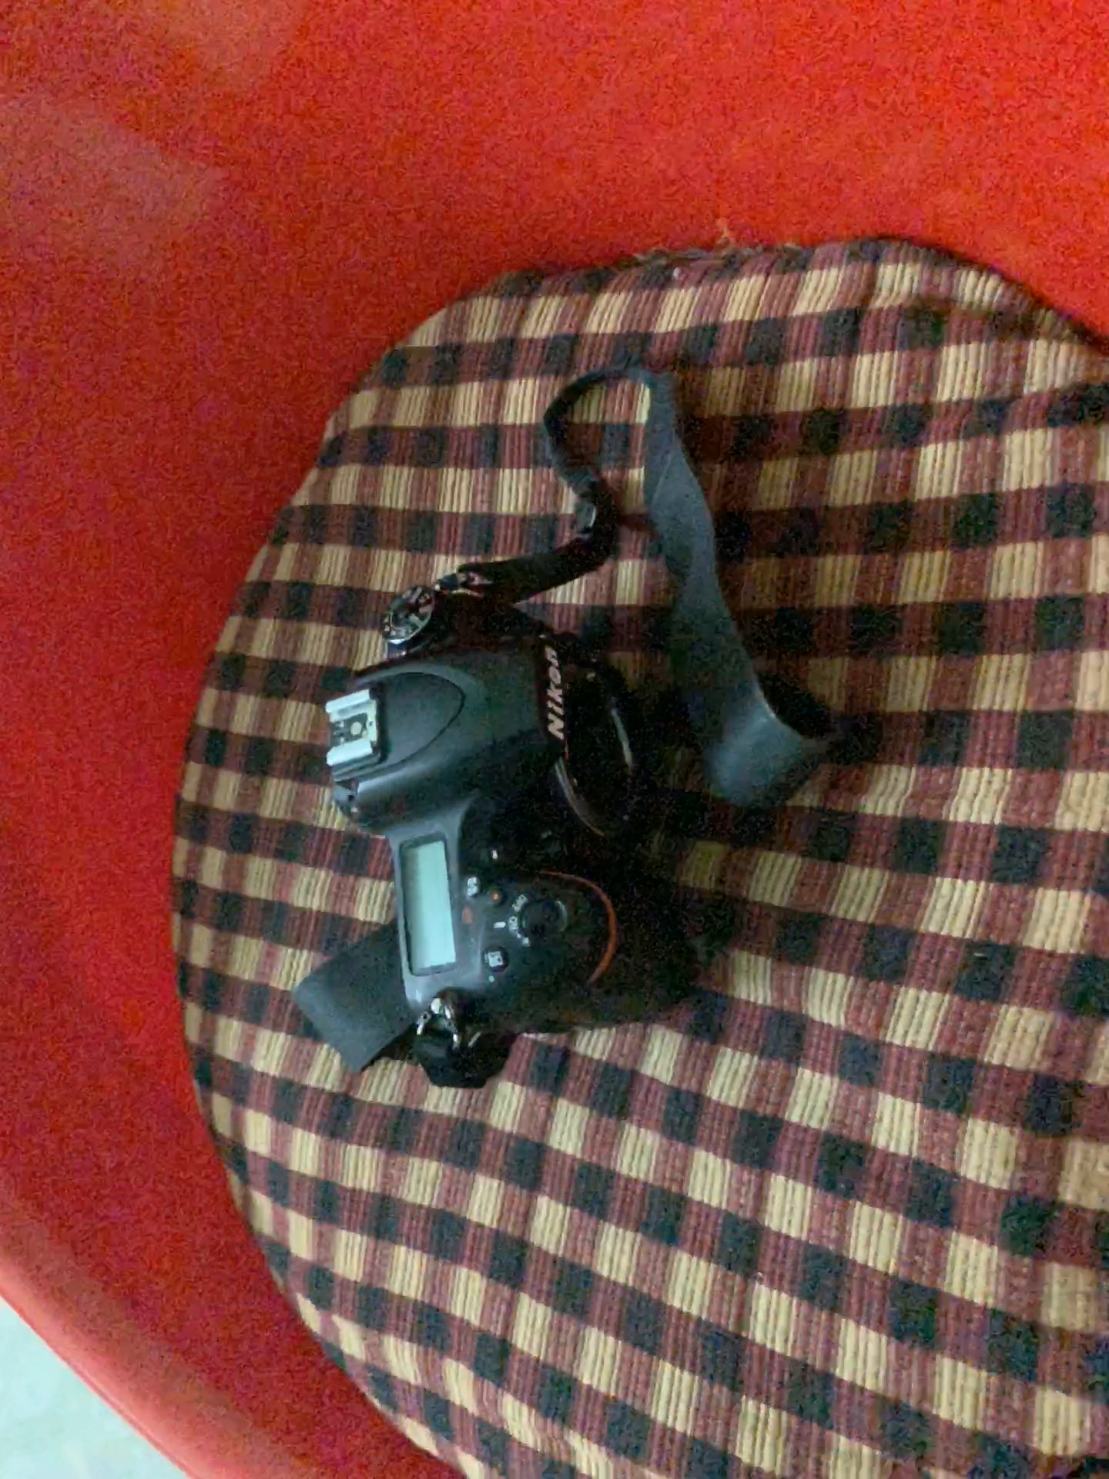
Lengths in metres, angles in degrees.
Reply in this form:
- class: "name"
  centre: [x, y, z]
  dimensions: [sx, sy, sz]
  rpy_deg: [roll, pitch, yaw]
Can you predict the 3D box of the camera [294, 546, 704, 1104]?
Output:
- class: "camera"
  centre: [-0.015, 0.027, 0.344]
  dimensions: [0.080, 0.090, 0.140]
  rpy_deg: [-8, 82, 32]
